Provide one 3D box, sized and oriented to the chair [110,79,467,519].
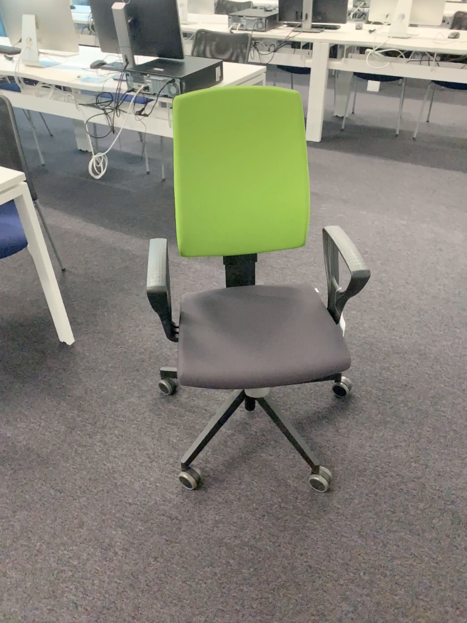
[{"bbox_3d":[0.101,-0.024,1.429,0.720,1.054,0.674,-6,39,-7],"label":"chair"}]
